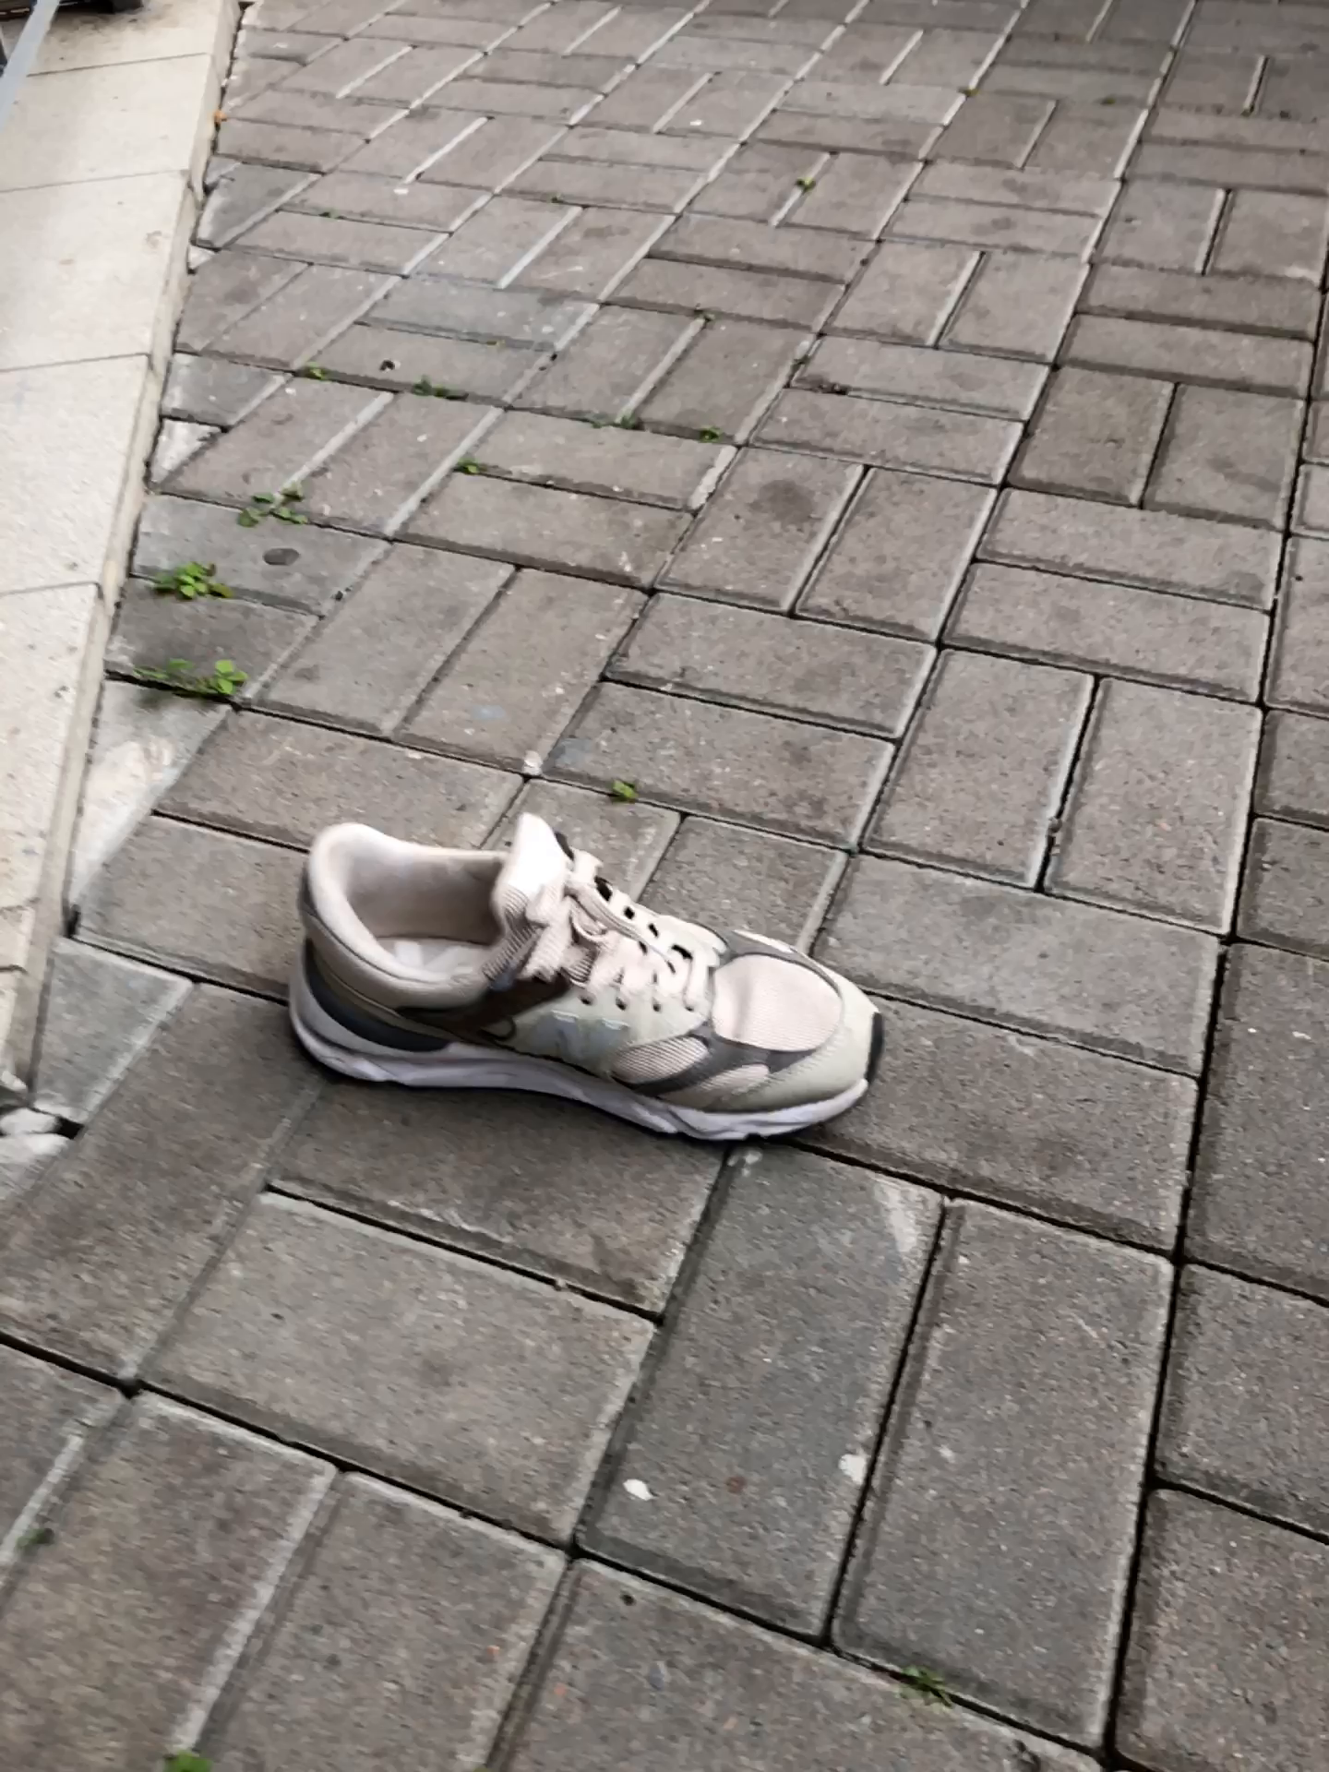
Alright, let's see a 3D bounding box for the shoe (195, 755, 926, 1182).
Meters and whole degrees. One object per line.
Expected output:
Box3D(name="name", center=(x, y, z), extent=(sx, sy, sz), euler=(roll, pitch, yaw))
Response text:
Box3D(name="shoe", center=(-0.039, 0.034, 0.677), extent=(0.300, 0.109, 0.121), euler=(6, 47, 12))
